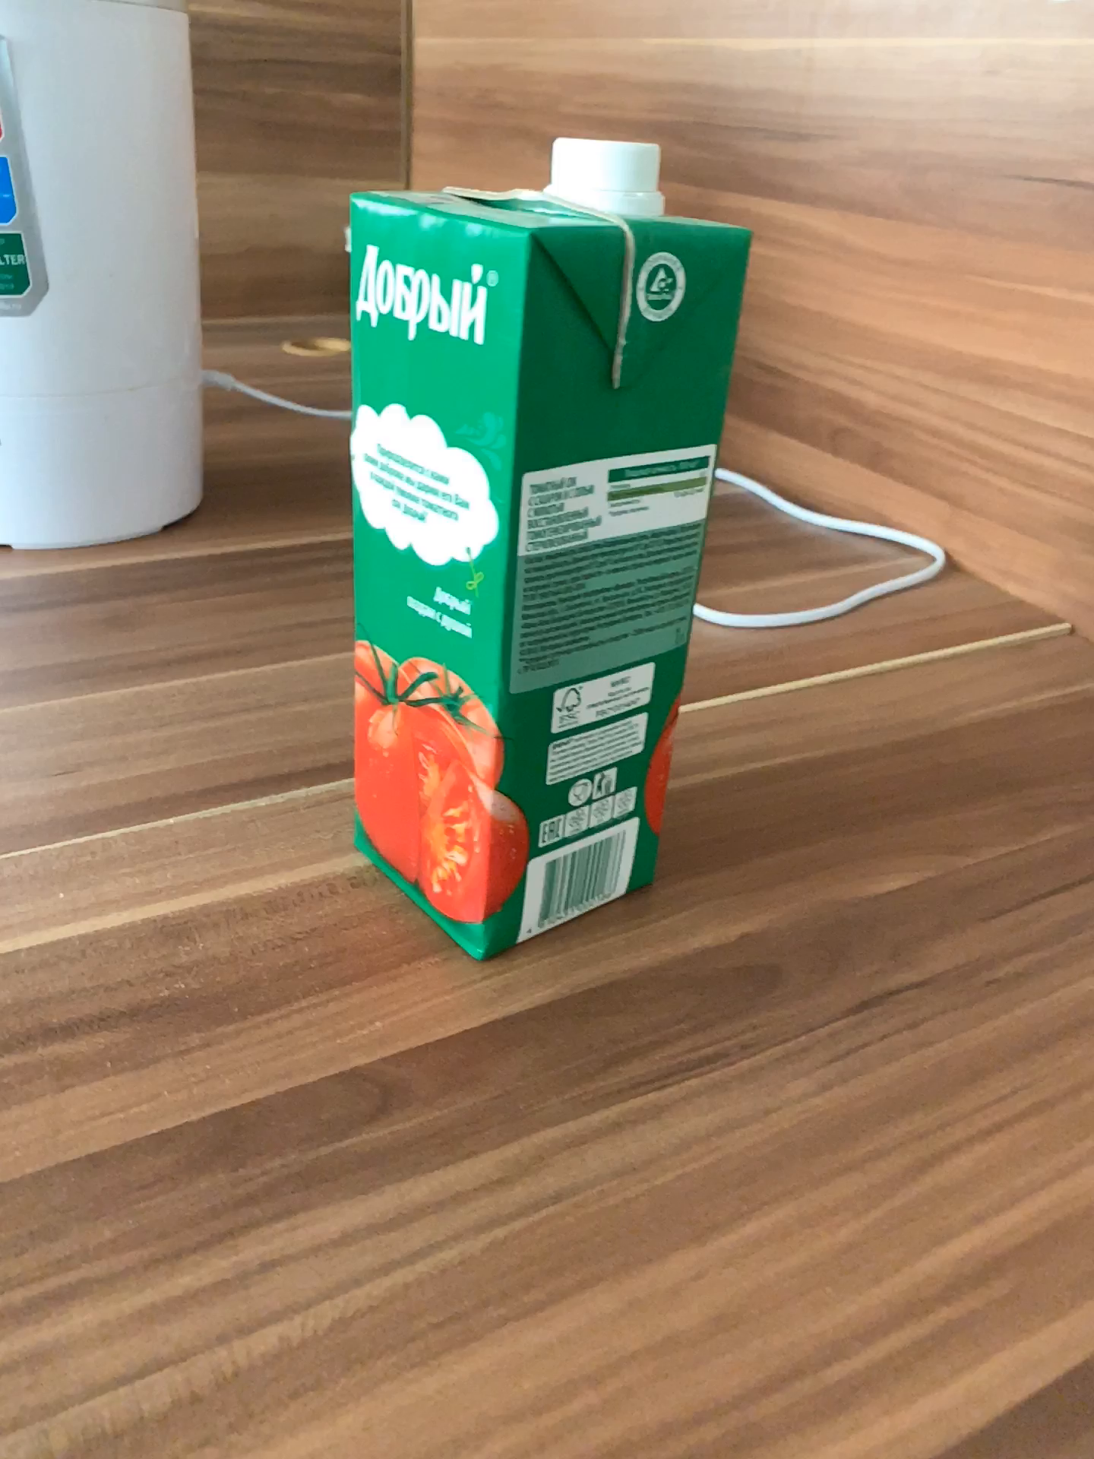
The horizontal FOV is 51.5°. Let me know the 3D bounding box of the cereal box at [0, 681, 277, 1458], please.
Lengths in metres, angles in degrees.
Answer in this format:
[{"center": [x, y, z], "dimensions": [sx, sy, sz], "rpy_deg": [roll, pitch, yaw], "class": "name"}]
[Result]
[{"center": [-0.535, 0.546, 0.368], "dimensions": [0.590, 0.836, 0.613], "rpy_deg": [14, 31, 18], "class": "cereal box"}]
